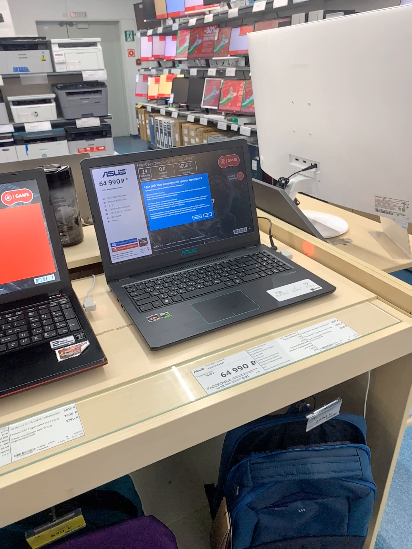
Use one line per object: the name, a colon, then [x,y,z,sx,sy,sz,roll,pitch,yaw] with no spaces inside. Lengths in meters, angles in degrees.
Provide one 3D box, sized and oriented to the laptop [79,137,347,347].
laptop: [-0.001,-0.097,0.786,0.358,0.222,0.319,-15,30,-23]
